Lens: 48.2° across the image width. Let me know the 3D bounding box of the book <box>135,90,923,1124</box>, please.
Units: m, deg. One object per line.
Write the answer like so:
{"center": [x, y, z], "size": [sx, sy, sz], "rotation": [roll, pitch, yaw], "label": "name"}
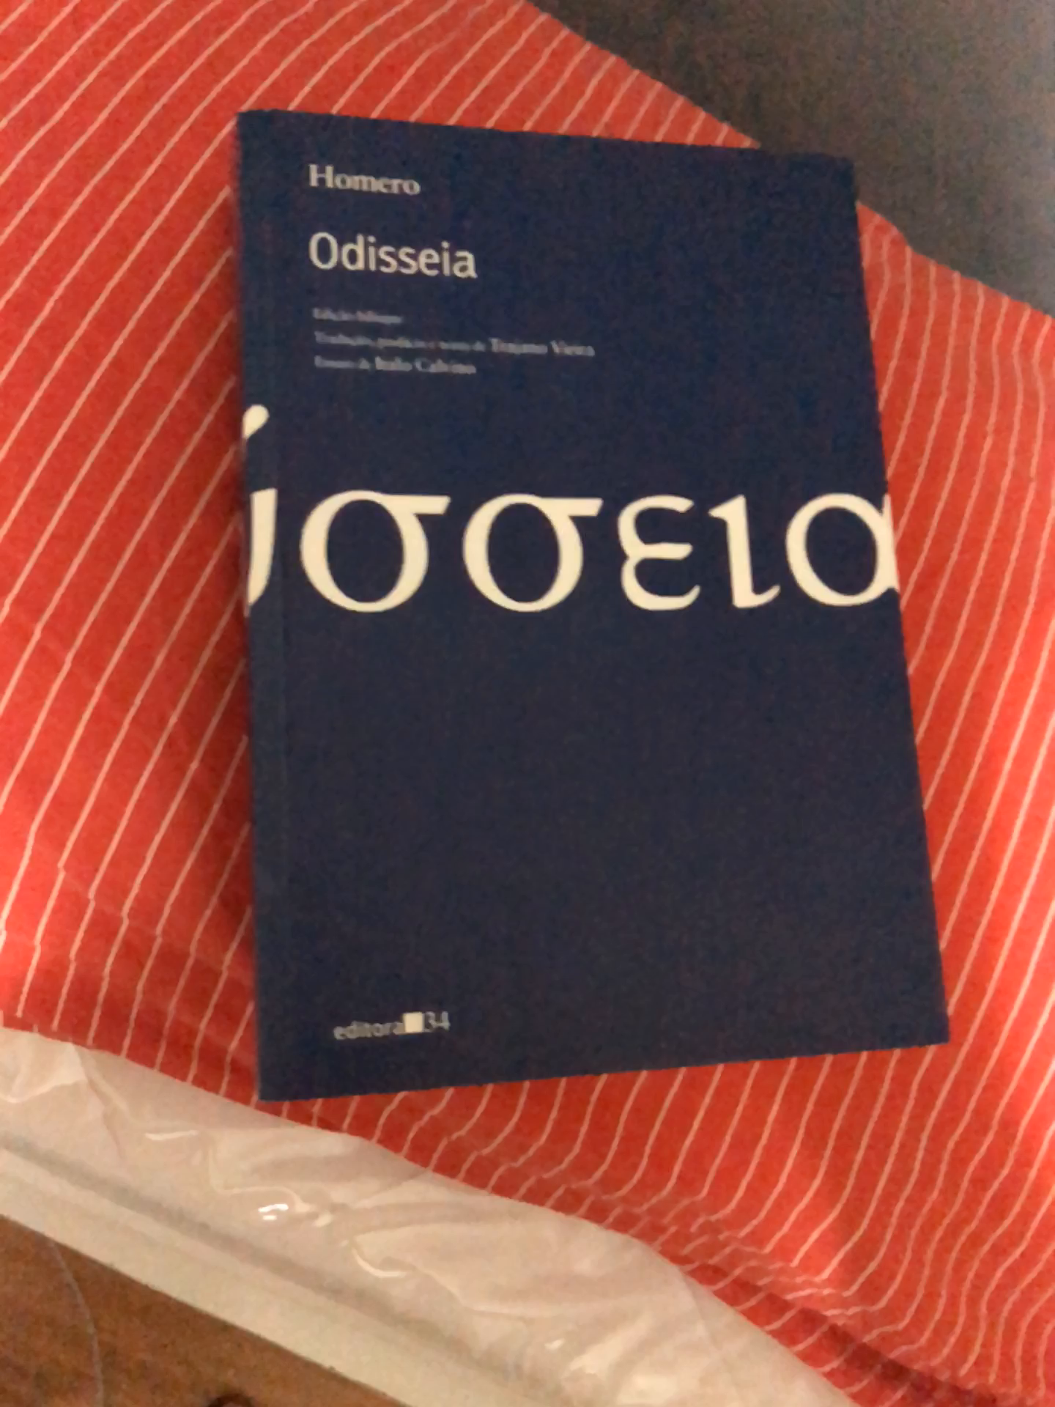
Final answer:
{"center": [-0.004, -0.028, 0.291], "size": [0.170, 0.040, 0.230], "rotation": [-2, 81, -11], "label": "book"}
